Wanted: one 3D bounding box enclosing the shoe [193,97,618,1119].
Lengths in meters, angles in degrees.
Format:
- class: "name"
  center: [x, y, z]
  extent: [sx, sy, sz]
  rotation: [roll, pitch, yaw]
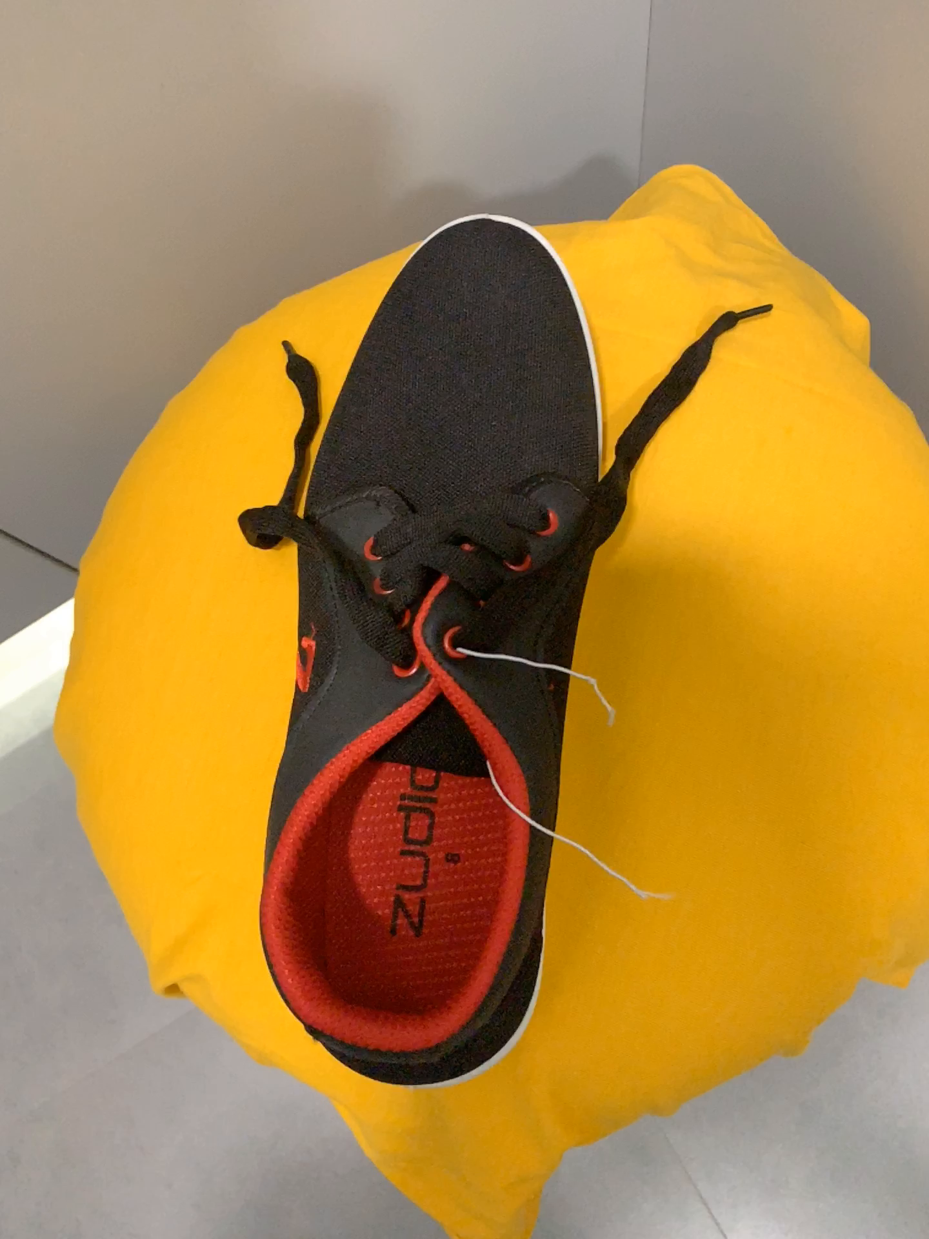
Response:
- class: "shoe"
  center: [-0.004, -0.009, 0.300]
  extent: [0.090, 0.100, 0.270]
  rotation: [3, 78, 8]
